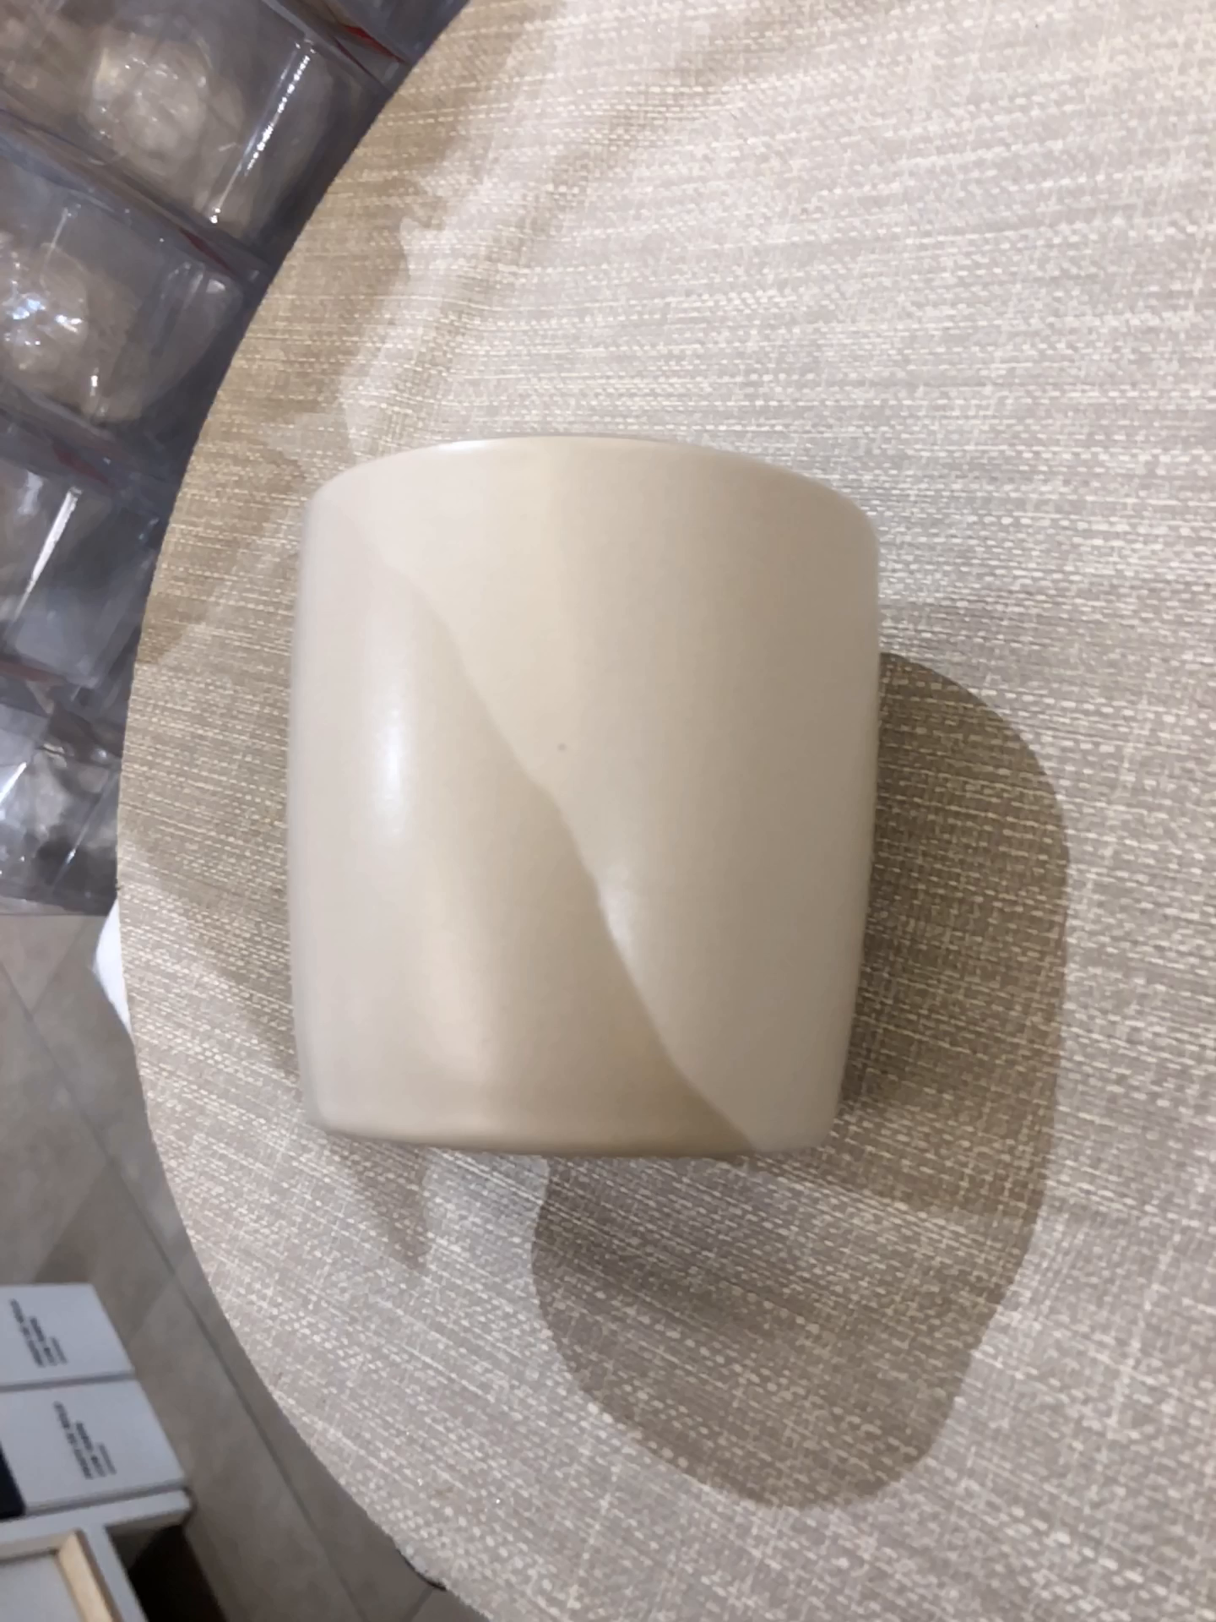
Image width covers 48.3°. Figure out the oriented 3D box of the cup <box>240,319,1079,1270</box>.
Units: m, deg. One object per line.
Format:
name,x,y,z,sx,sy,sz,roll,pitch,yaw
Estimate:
cup,-0.003,0.006,0.185,0.100,0.080,0.090,154,120,-70
